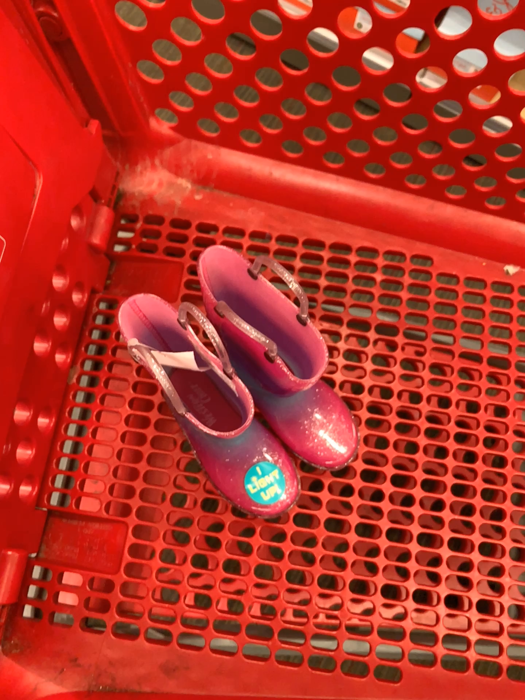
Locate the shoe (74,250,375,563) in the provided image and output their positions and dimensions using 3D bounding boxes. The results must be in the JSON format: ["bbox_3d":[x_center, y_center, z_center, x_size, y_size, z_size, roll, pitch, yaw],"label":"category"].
[{"bbox_3d":[-0.031,0.047,0.404,0.070,0.140,0.200,-41,82,-14],"label":"shoe"}]

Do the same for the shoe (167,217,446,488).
[{"bbox_3d":[0.022,0.013,0.429,0.190,0.140,0.070,43,75,7],"label":"shoe"}]
